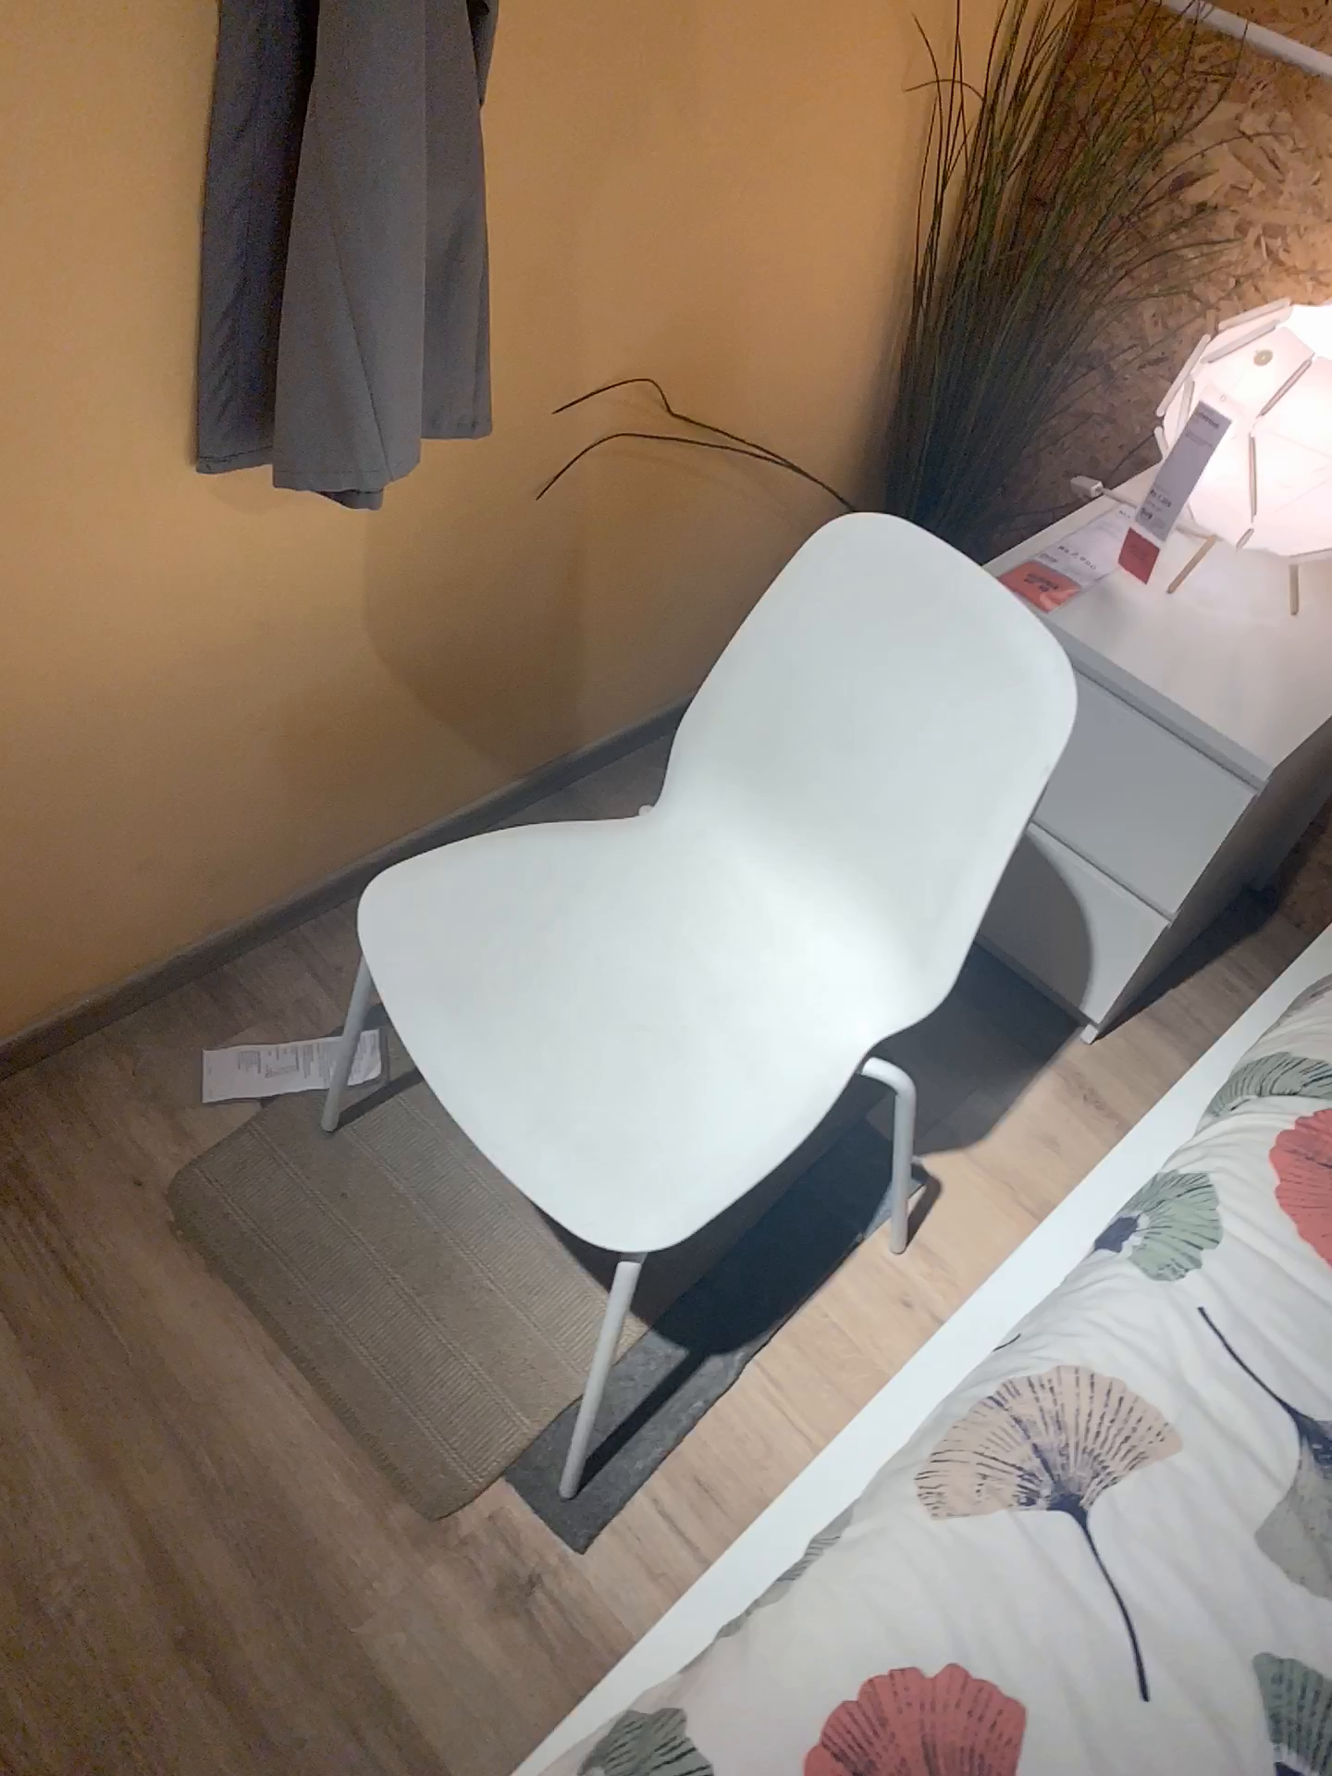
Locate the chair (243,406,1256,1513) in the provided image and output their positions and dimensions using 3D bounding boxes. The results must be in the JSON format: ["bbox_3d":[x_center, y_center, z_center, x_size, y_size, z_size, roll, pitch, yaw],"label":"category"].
[{"bbox_3d":[0.012,0.075,1.300,0.561,0.758,0.541,-26,58,-30],"label":"chair"}]
